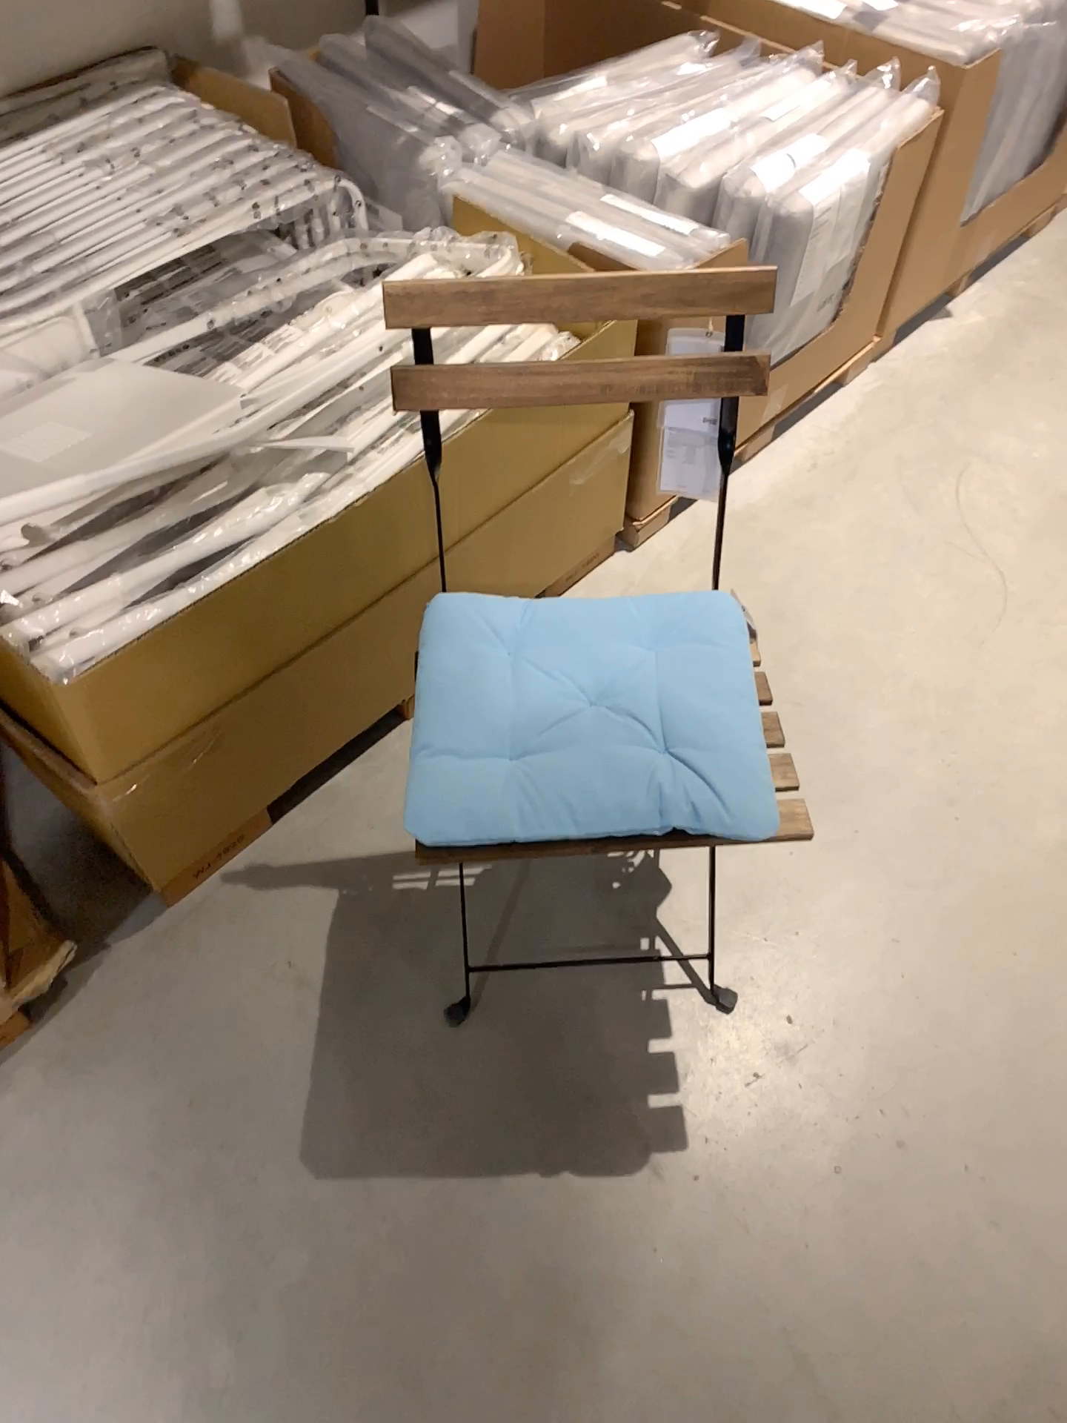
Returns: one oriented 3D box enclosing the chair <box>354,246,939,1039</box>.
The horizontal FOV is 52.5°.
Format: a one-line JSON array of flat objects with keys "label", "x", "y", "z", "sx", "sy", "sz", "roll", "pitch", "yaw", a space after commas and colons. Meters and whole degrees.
[{"label": "chair", "x": 0.060, "y": -0.022, "z": 1.167, "sx": 0.400, "sy": 0.738, "sz": 0.461, "roll": -3, "pitch": 53, "yaw": -3}]
